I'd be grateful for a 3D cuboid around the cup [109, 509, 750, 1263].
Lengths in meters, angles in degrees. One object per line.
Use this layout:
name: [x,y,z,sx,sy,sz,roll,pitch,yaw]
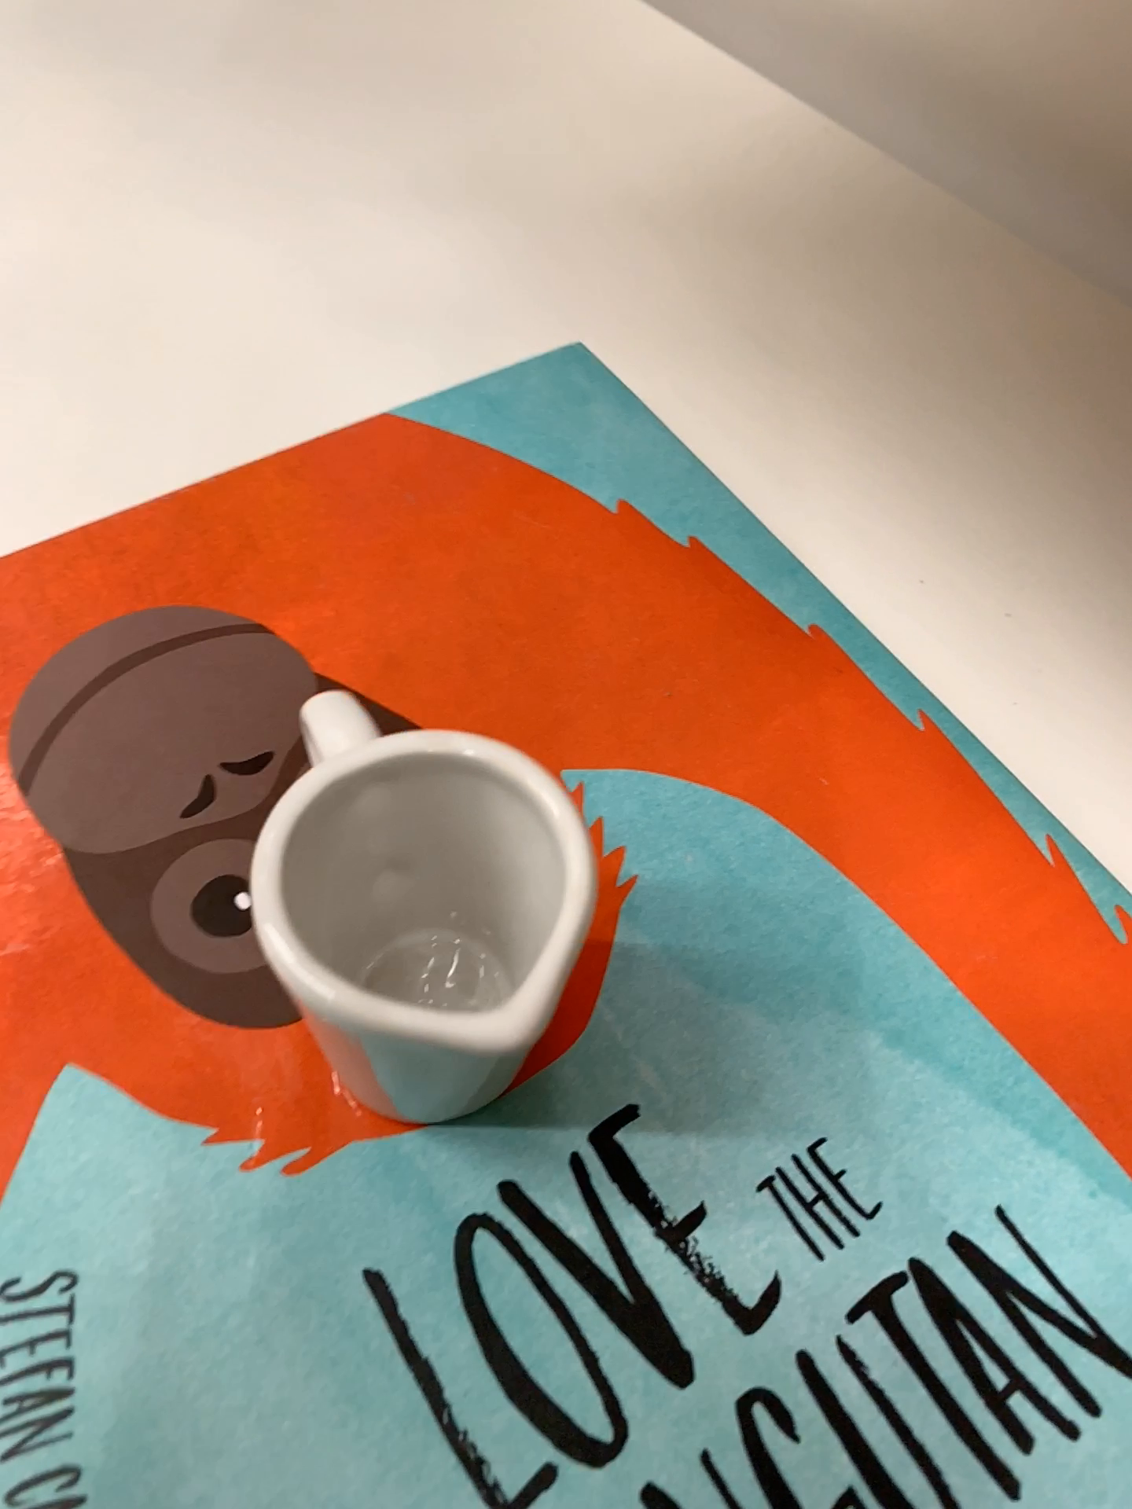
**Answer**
cup: [-0.020,0.016,0.153,0.050,0.050,0.070,-18,60,-17]
